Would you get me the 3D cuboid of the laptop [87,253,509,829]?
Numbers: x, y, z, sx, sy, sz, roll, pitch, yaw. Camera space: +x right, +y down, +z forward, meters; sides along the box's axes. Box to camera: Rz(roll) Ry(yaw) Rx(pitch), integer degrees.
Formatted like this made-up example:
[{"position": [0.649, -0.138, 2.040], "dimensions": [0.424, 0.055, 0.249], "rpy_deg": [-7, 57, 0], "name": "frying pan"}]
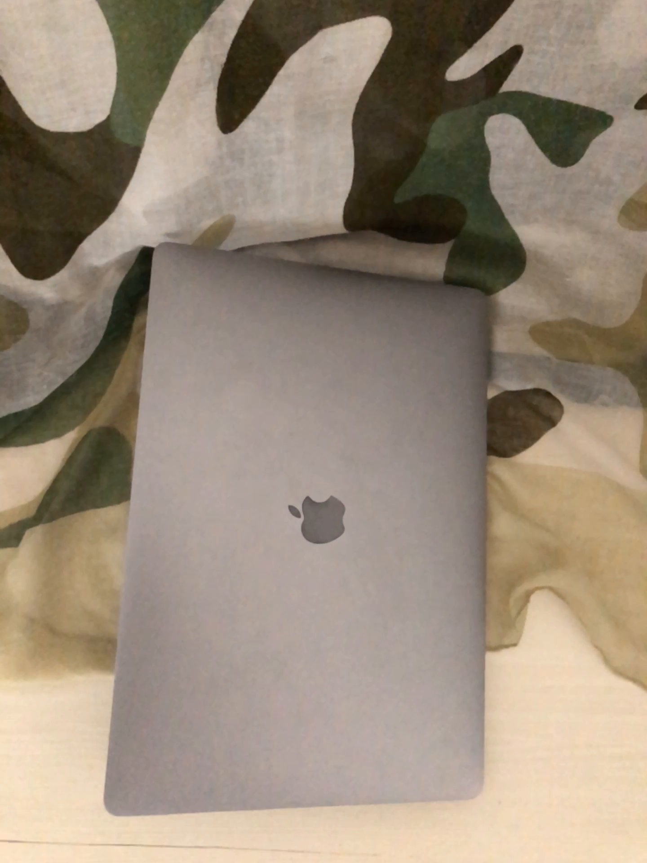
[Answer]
[{"position": [-0.007, 0.060, 0.469], "dimensions": [0.236, 0.059, 0.338], "rpy_deg": [3, 79, 0], "name": "laptop"}]
